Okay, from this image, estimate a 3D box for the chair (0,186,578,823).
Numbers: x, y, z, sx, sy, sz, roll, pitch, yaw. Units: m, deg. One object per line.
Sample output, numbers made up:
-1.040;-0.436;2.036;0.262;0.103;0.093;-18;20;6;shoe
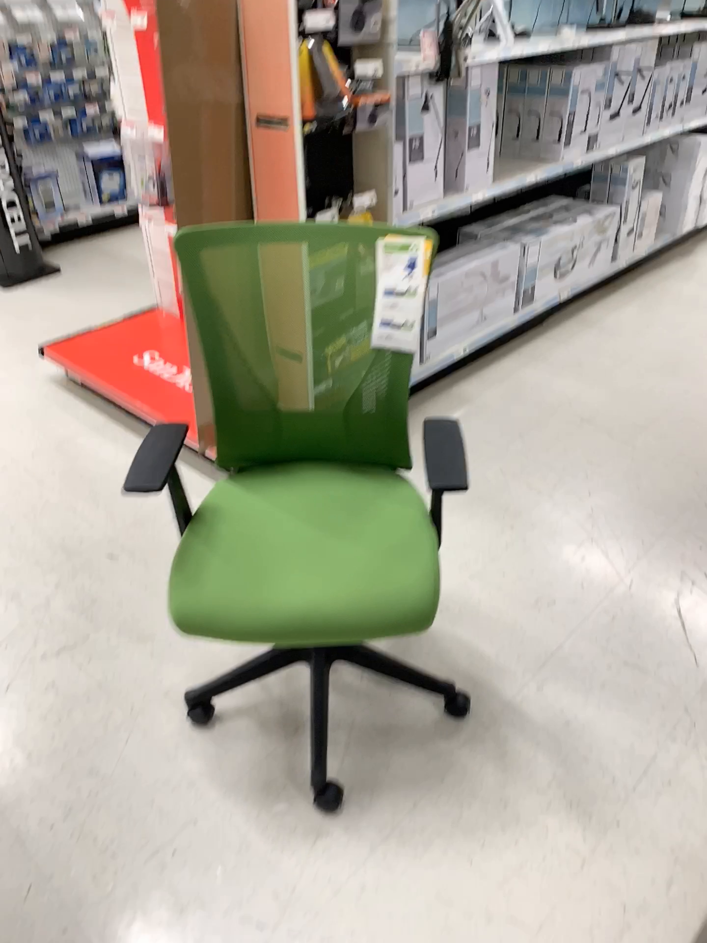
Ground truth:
-0.074;0.064;1.376;0.670;0.995;0.674;-1;34;0;chair
